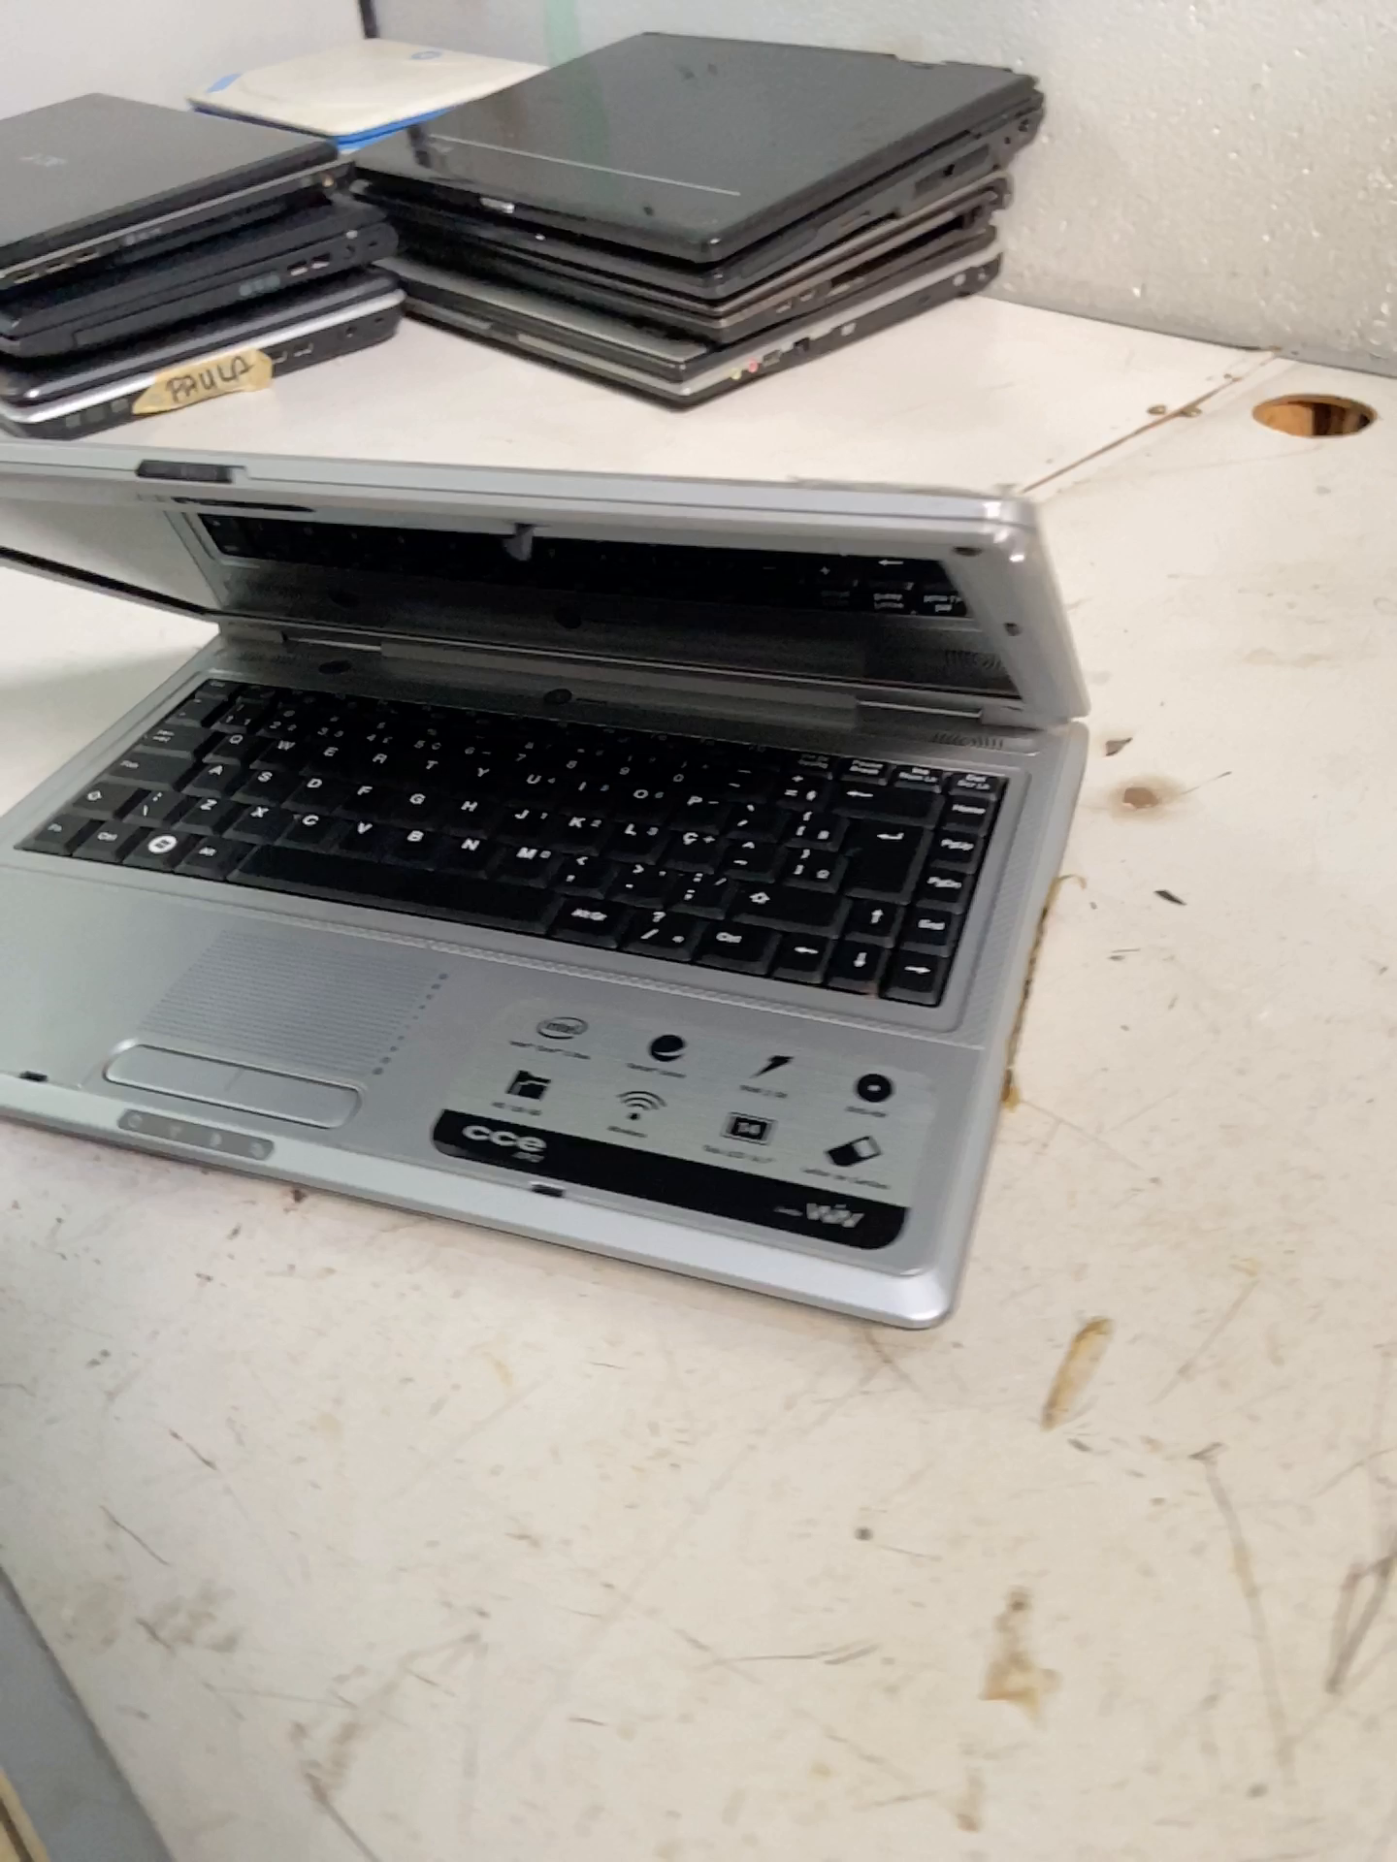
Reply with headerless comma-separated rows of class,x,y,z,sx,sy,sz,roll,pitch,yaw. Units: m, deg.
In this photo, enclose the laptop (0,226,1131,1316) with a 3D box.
laptop,-0.075,-0.077,0.395,0.335,0.153,0.243,9,41,17
